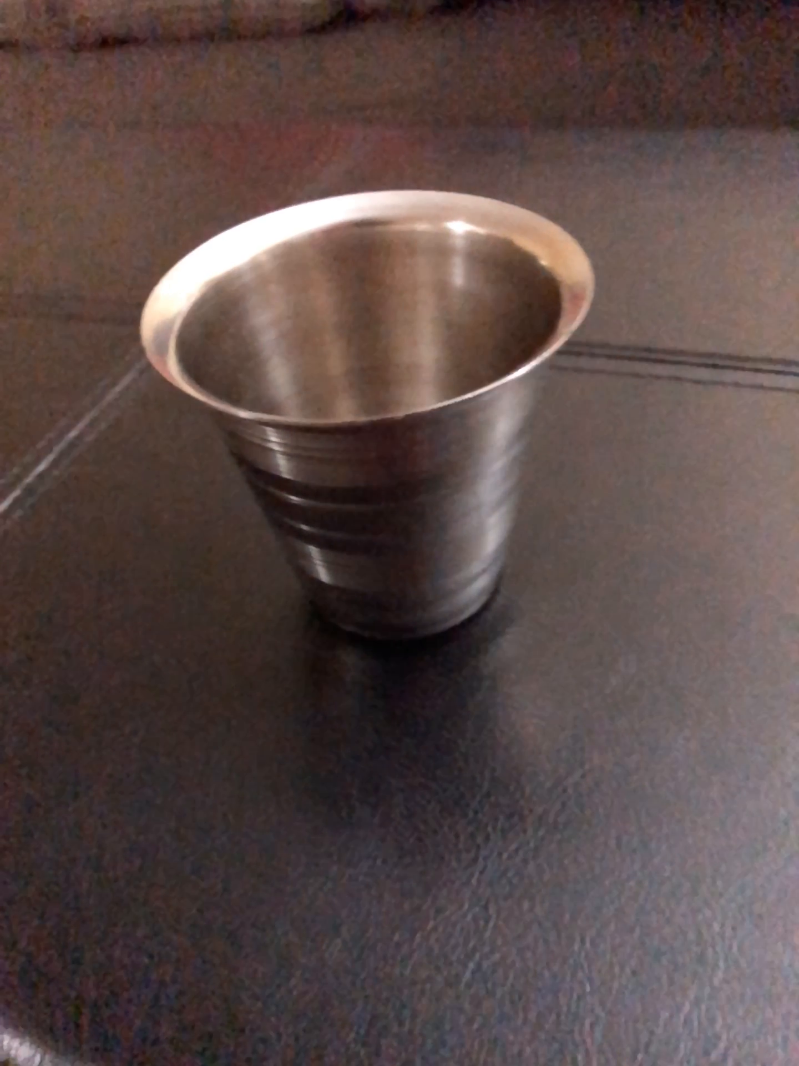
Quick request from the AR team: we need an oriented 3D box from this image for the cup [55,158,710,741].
[{"bbox_3d":[0.001,-0.021,0.153,0.074,0.052,0.067,-5,42,5],"label":"cup"}]
